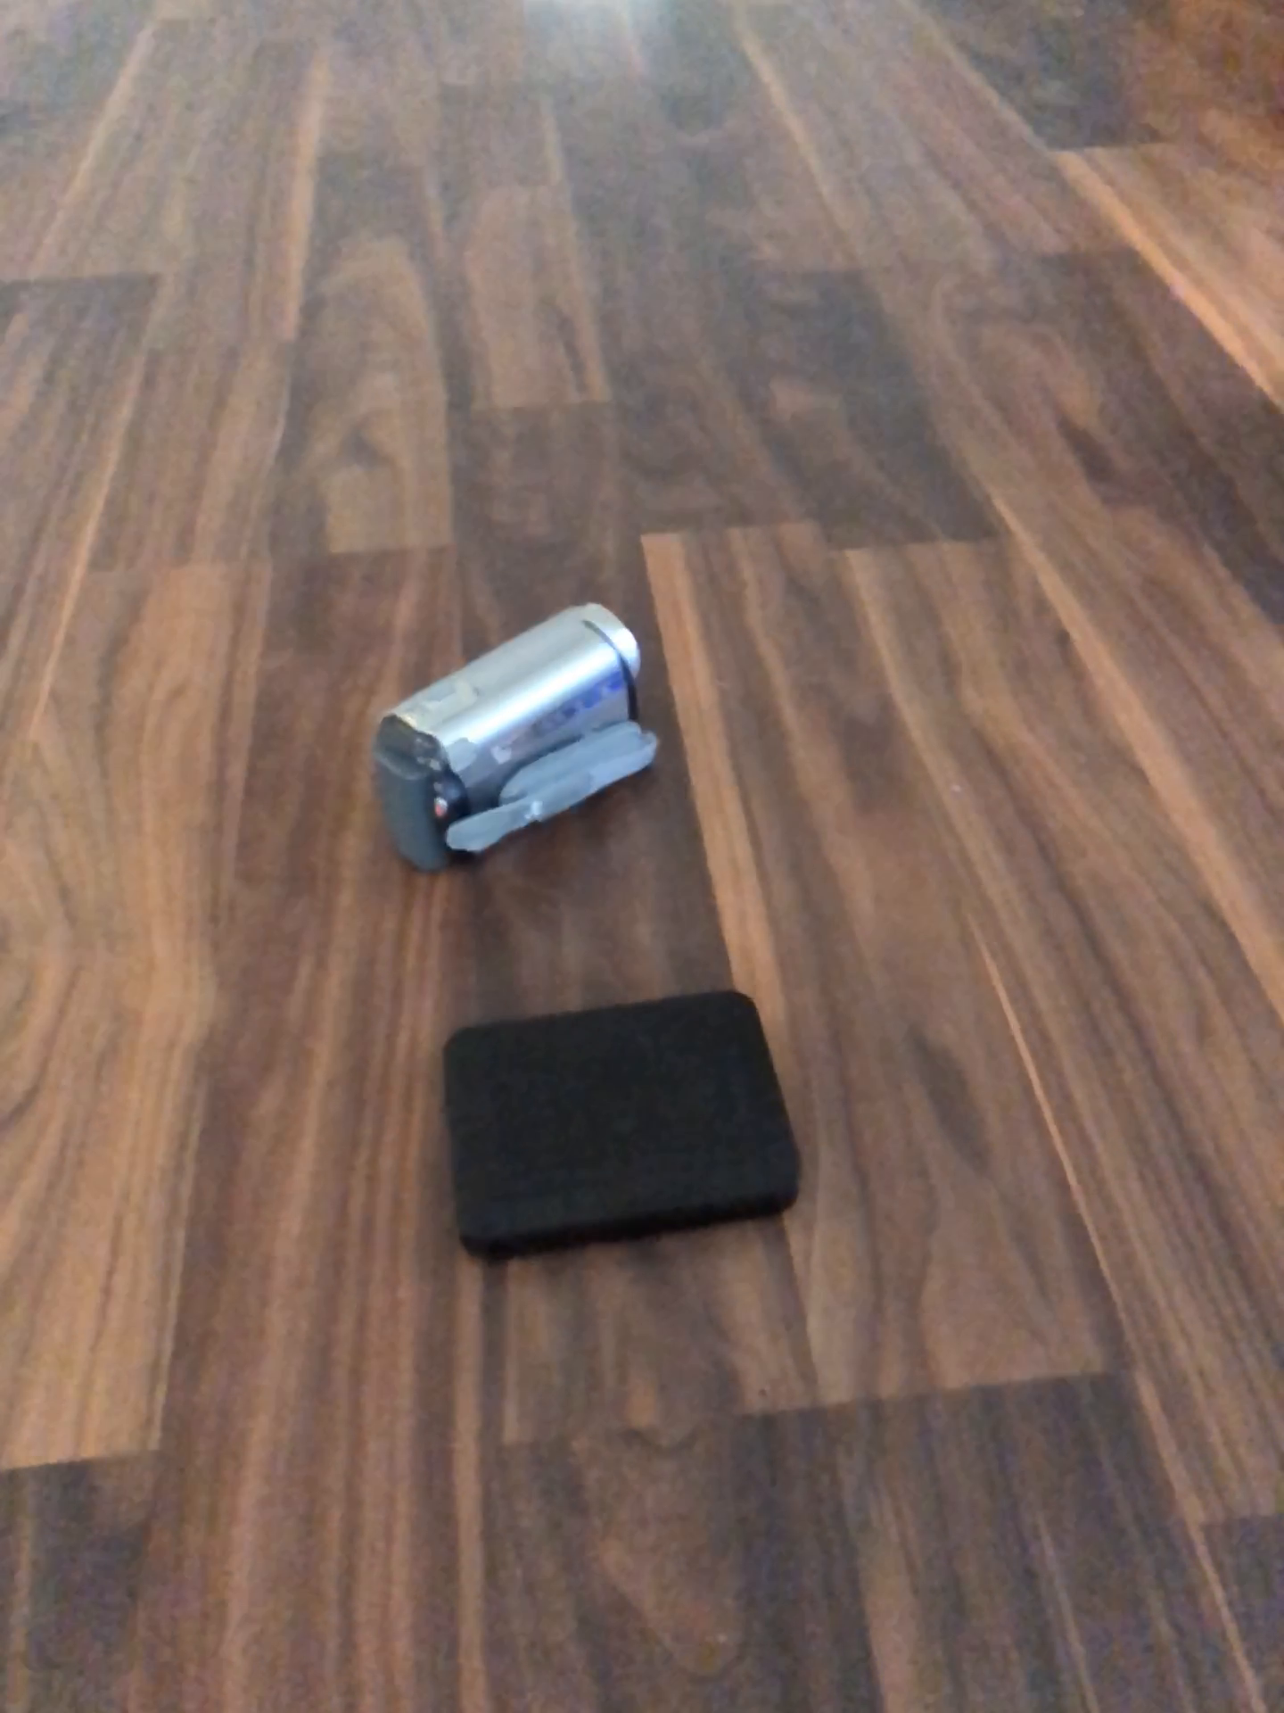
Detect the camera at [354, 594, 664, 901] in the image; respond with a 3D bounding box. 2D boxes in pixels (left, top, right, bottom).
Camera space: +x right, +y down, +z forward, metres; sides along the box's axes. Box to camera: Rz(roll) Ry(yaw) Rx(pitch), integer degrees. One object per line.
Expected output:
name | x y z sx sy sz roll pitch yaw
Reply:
camera | -0.049 -0.046 0.563 0.115 0.065 0.048 -34 52 -29
